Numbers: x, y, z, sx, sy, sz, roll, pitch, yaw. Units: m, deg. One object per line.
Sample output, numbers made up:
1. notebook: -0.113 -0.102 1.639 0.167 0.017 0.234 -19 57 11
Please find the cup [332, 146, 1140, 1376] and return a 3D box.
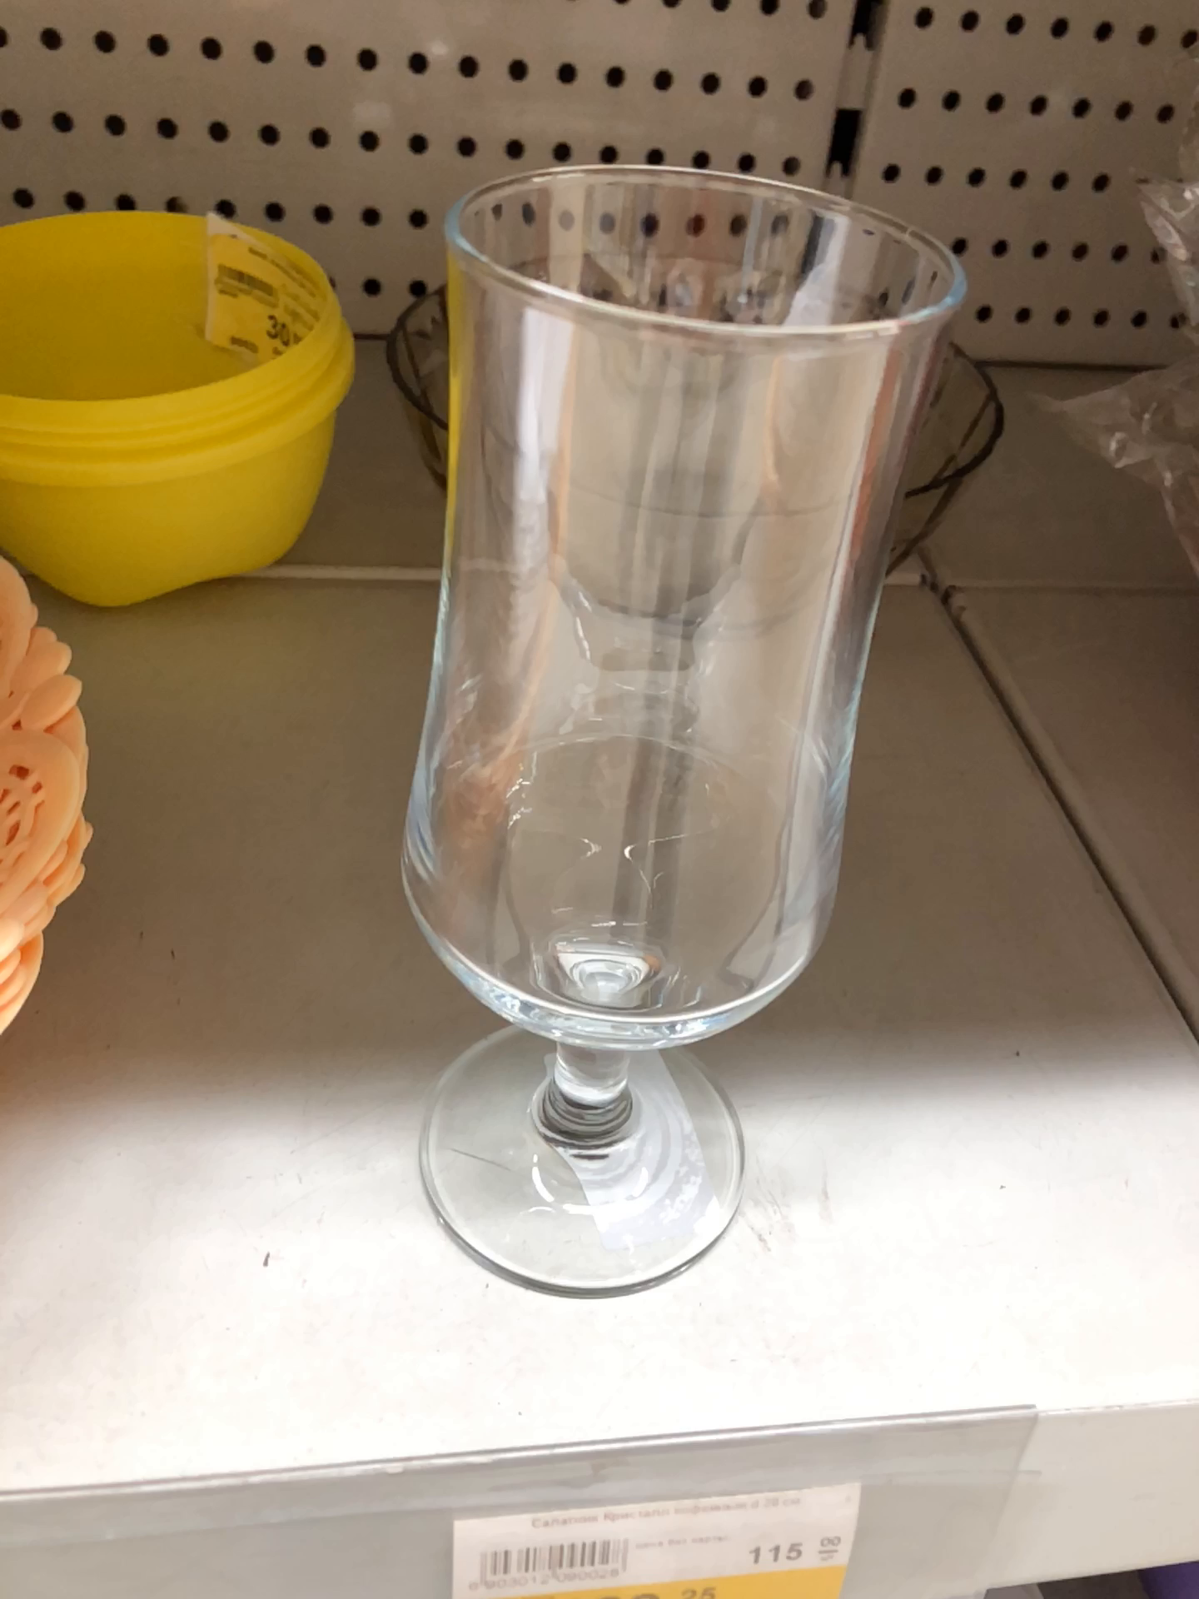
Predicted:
1. cup: 0.006 0.003 0.229 0.078 0.194 0.075 3 39 -3
